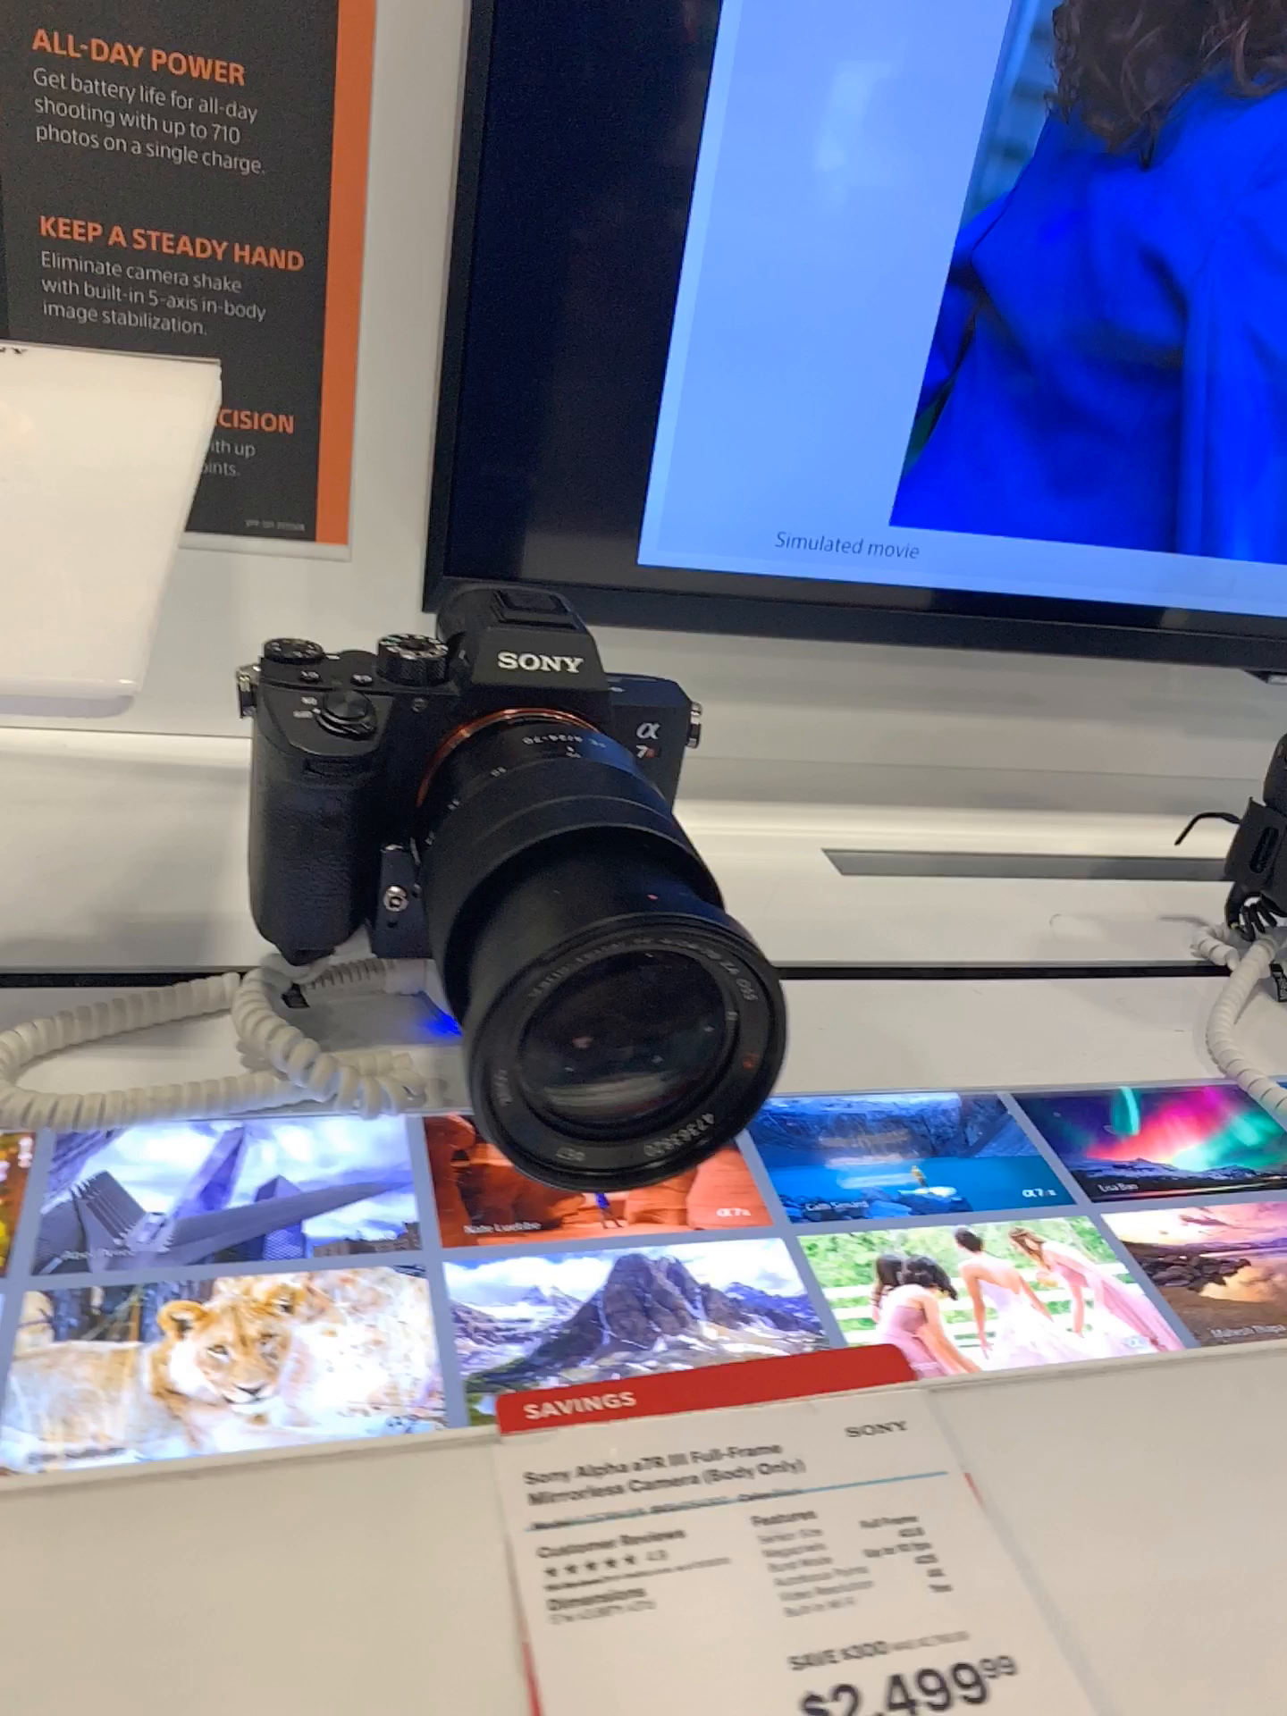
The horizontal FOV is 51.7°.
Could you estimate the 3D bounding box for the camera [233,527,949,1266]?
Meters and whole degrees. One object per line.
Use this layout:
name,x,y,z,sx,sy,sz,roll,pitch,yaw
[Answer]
camera,-0.036,-0.008,0.349,0.130,0.099,0.194,-1,28,-19
